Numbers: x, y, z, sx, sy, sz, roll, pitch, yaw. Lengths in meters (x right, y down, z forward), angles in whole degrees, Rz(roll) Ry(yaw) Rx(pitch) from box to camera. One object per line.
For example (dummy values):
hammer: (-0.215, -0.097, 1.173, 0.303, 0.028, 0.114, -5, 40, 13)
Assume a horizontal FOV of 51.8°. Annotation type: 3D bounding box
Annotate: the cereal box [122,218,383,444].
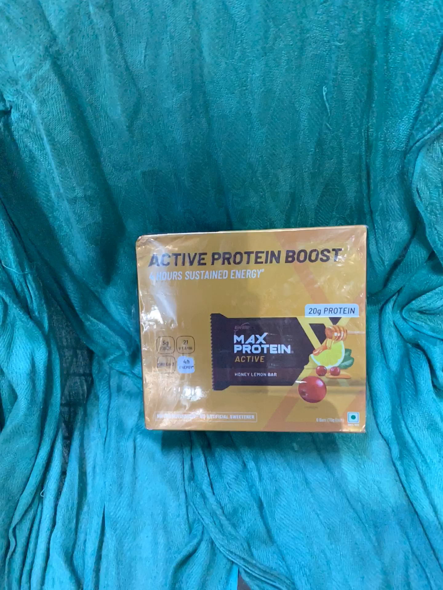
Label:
cereal box: (0.023, 0.023, 0.328, 0.160, 0.080, 0.140, -2, 93, 7)
